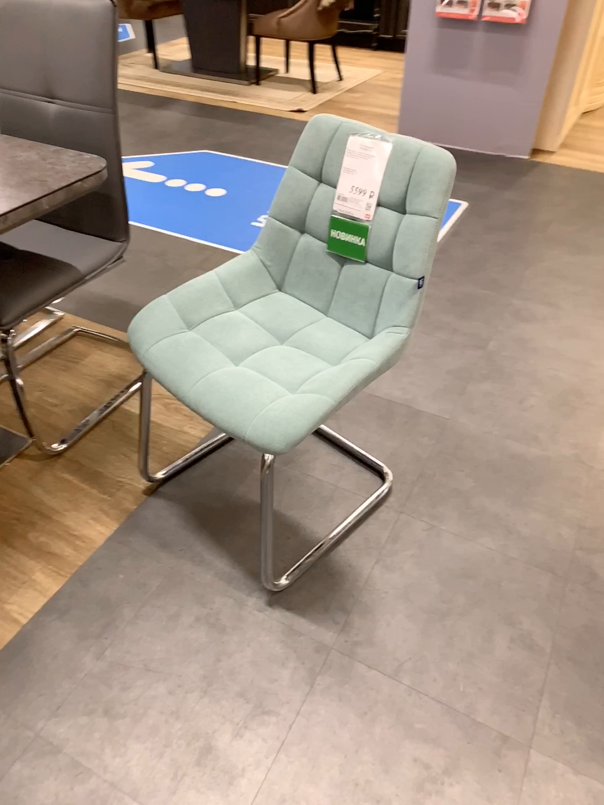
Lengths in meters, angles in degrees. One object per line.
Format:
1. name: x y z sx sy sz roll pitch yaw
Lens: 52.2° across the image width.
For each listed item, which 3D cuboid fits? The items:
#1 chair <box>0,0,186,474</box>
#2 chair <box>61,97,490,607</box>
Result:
1. chair: -0.737 -0.442 1.586 0.511 1.004 0.573 22 44 23
2. chair: -0.043 -0.121 1.343 0.511 0.825 0.552 31 48 31
